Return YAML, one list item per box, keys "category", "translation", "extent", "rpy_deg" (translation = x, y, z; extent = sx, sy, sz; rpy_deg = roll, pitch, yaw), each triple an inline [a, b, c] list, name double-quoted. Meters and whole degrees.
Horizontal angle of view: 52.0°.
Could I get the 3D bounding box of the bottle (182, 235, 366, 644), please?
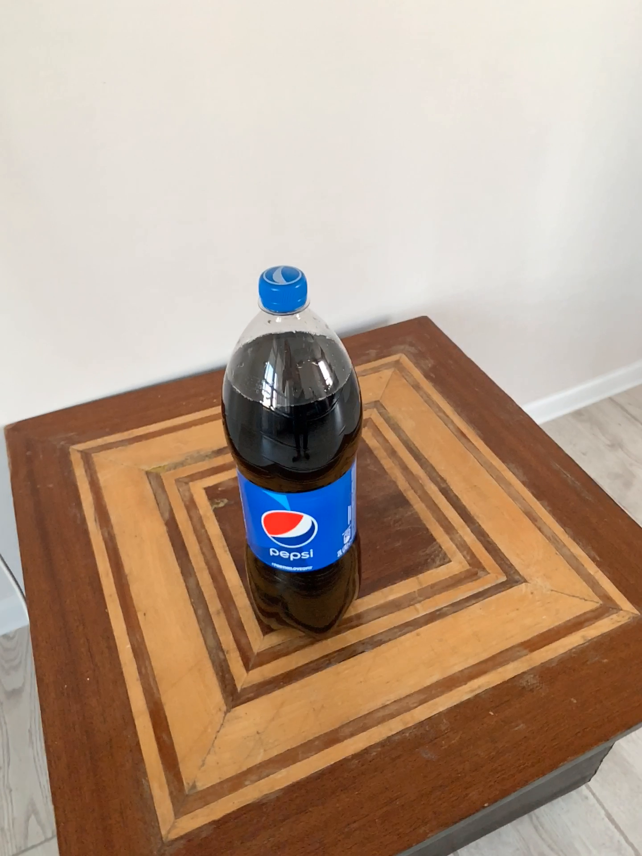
- category: "bottle"
  translation: [-0.020, 0.032, 0.511]
  extent: [0.100, 0.338, 0.100]
  rpy_deg: [-1, 42, 1]
